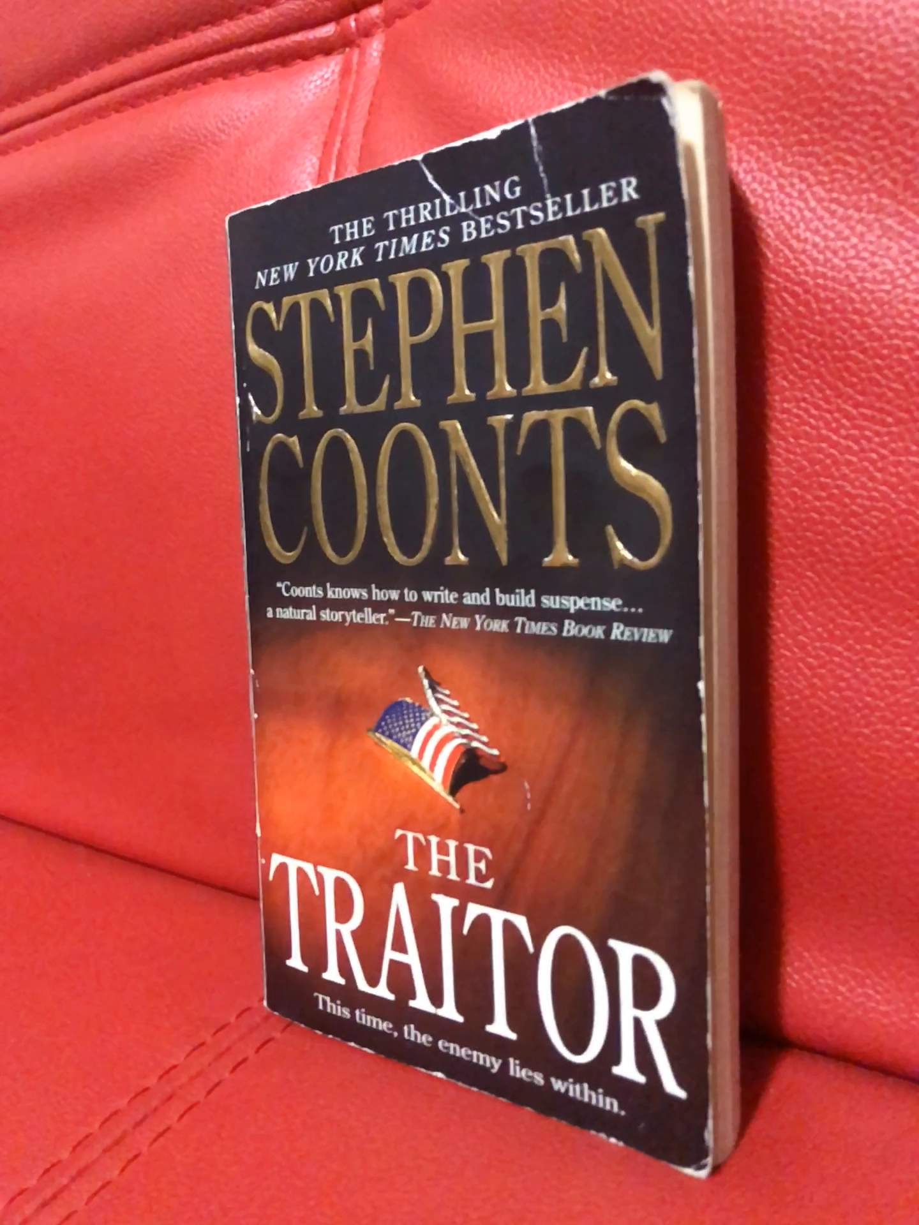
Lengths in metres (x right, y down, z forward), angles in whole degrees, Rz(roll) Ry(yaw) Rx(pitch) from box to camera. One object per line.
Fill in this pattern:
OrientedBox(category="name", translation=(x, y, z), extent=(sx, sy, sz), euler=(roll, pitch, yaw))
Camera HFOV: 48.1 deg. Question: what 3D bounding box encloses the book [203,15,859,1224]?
OrientedBox(category="book", translation=(0.008, 0.002, 0.201), extent=(0.120, 0.180, 0.040), euler=(3, 5, 34))
